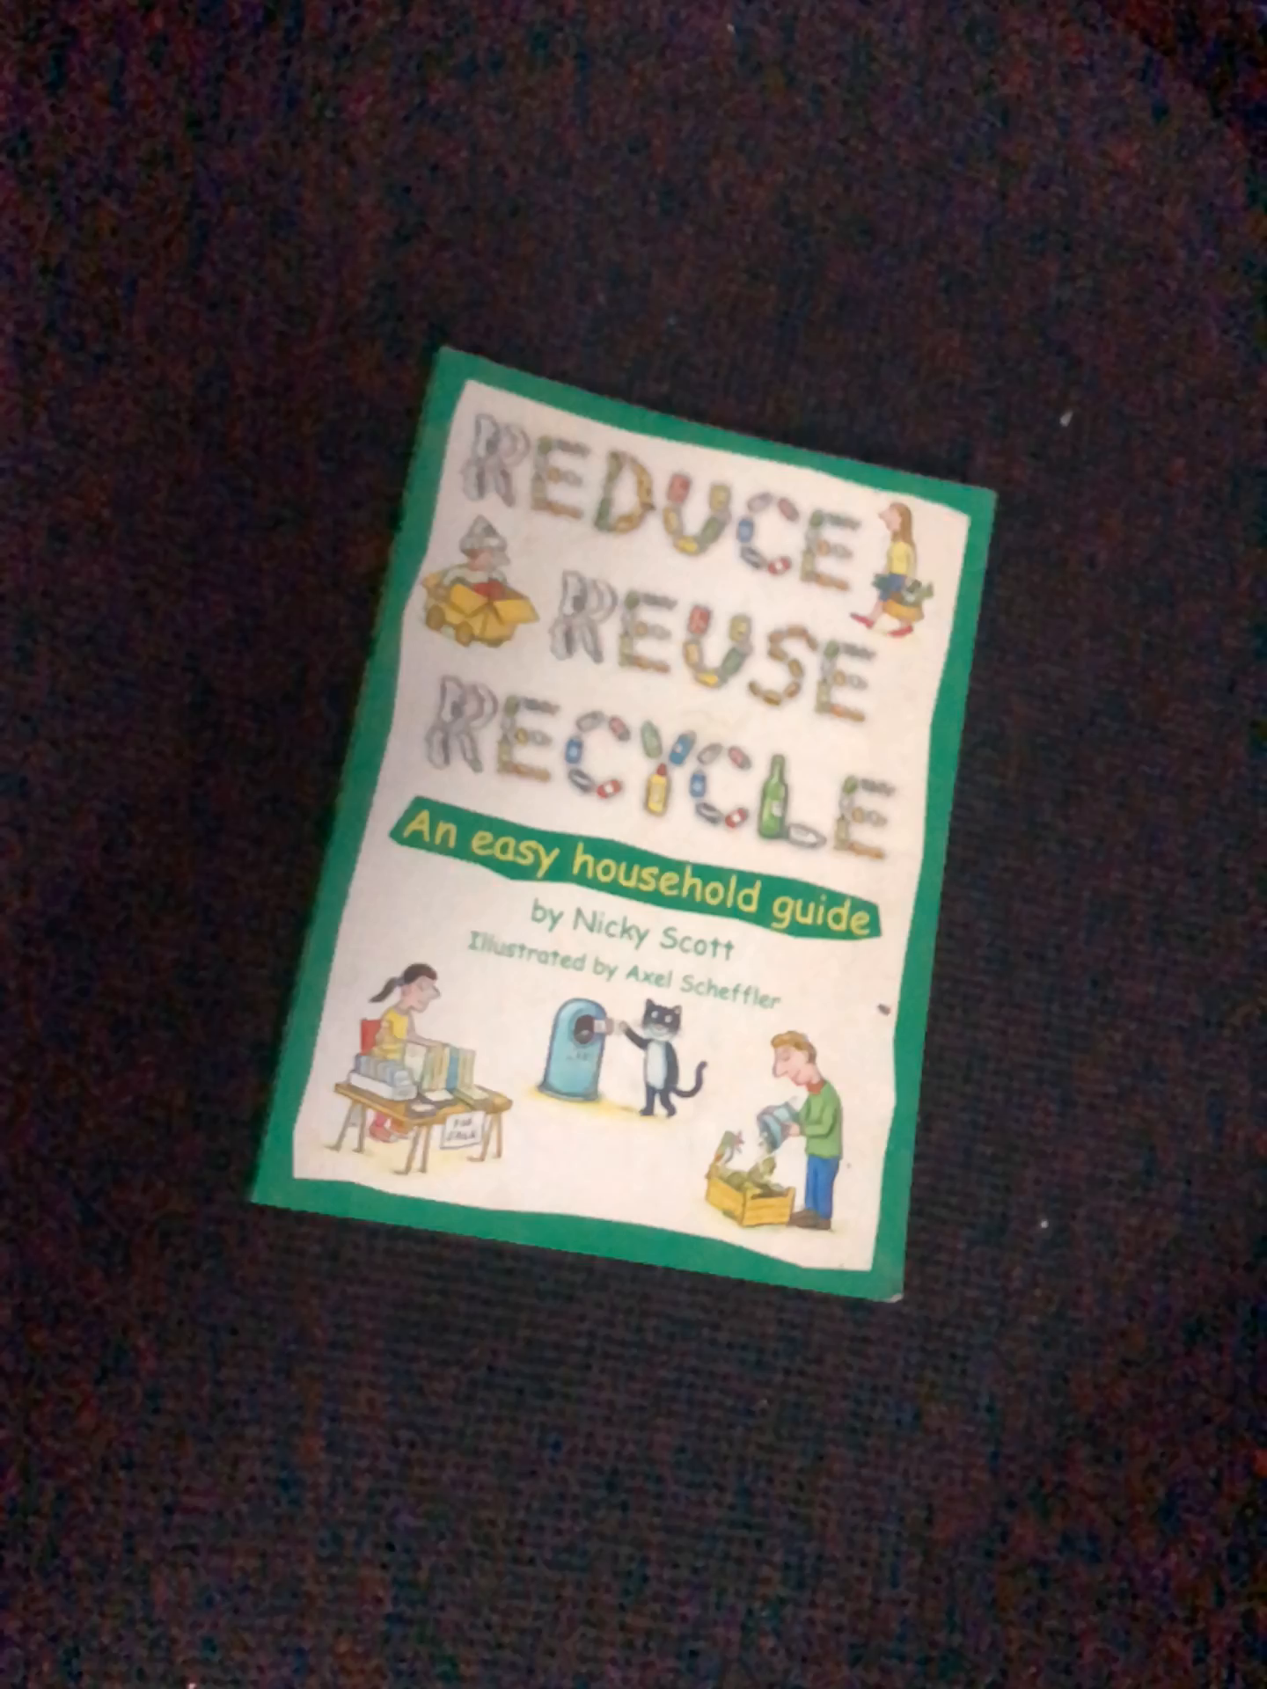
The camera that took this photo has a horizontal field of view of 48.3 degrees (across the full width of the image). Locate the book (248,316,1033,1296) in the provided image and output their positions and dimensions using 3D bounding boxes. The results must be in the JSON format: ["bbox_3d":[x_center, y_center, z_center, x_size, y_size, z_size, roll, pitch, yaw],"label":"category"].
[{"bbox_3d":[0.008,-0.009,0.286,0.130,0.018,0.173,12,77,-10],"label":"book"}]
